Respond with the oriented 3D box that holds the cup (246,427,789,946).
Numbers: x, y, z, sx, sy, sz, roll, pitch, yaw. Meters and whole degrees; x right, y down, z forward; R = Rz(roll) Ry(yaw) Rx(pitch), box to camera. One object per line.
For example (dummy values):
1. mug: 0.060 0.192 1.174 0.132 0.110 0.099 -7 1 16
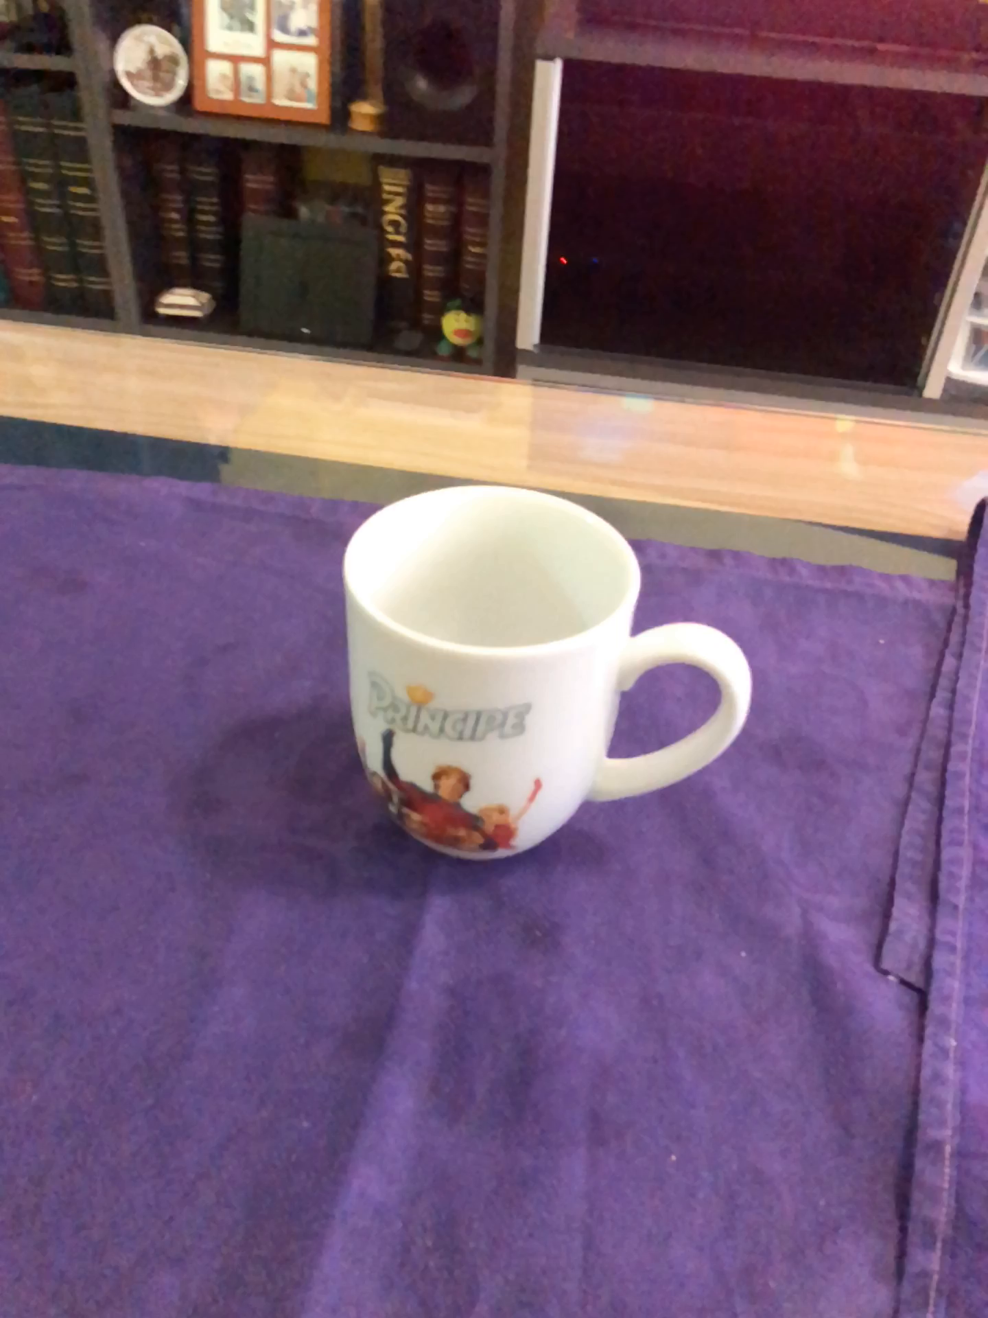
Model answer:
1. cup: 0.008 0.004 0.305 0.120 0.090 0.080 14 40 13
